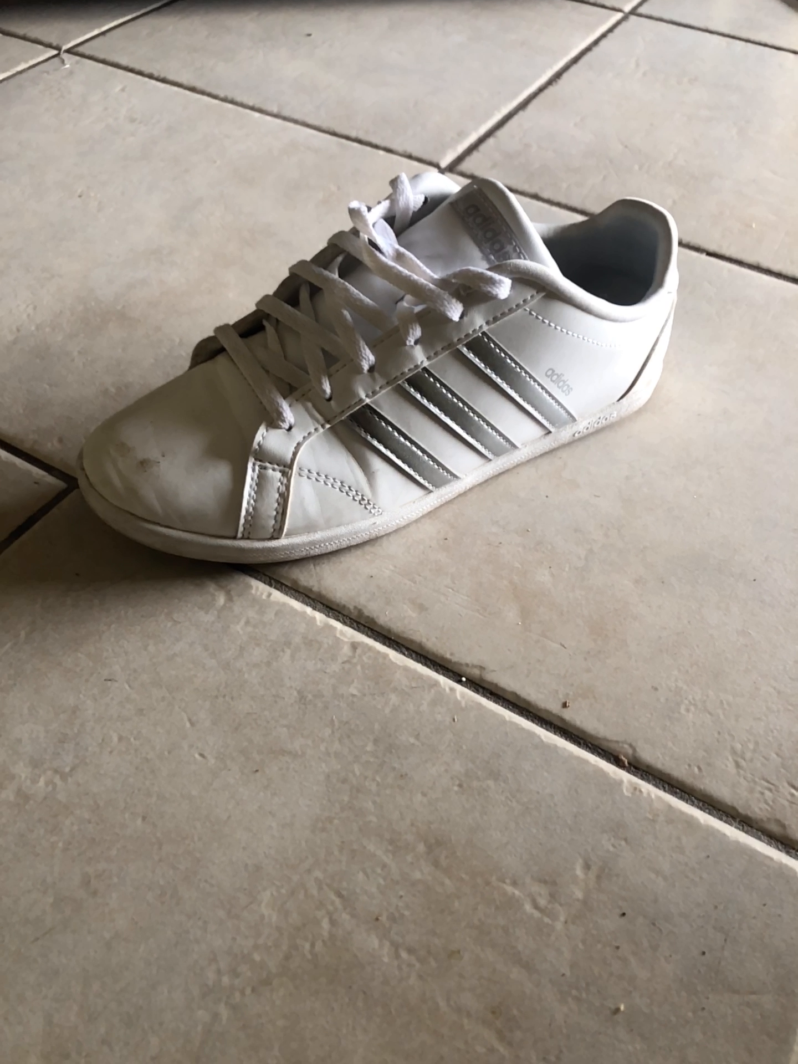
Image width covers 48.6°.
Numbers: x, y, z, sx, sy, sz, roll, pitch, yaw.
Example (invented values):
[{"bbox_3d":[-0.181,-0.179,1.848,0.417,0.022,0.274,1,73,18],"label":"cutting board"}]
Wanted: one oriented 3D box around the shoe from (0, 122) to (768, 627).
[{"bbox_3d":[0.000,-0.074,0.358,0.271,0.099,0.090,-21,53,-19],"label":"shoe"}]
